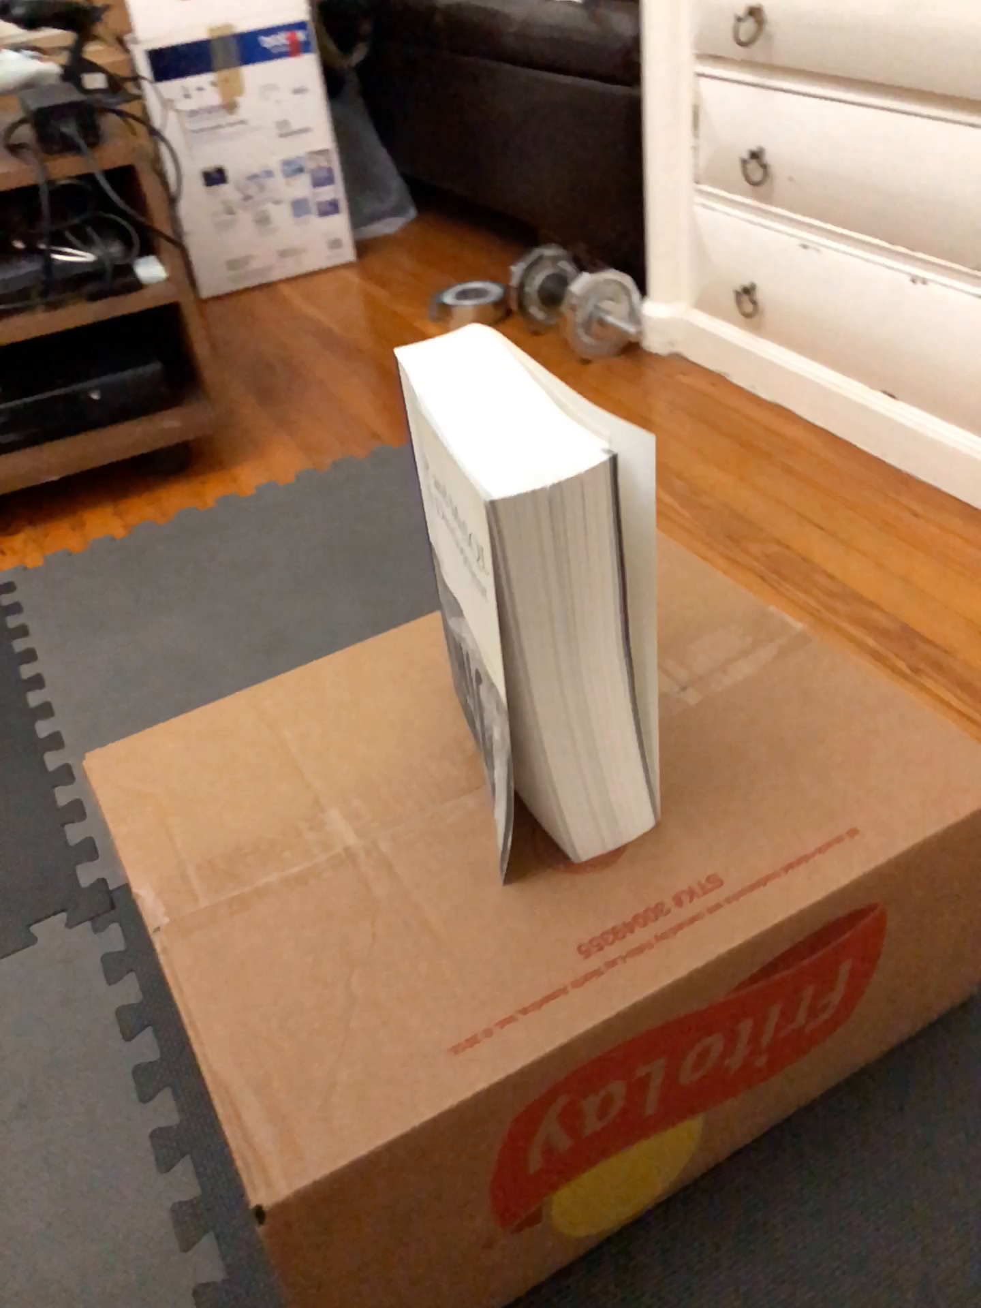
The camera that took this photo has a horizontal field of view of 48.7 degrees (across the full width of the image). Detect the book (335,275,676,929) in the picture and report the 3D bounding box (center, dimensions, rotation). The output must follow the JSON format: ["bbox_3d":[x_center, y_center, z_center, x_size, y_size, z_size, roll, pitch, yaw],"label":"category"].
[{"bbox_3d":[0.008,-0.030,0.561,0.090,0.258,0.201,-16,37,-8],"label":"book"}]
